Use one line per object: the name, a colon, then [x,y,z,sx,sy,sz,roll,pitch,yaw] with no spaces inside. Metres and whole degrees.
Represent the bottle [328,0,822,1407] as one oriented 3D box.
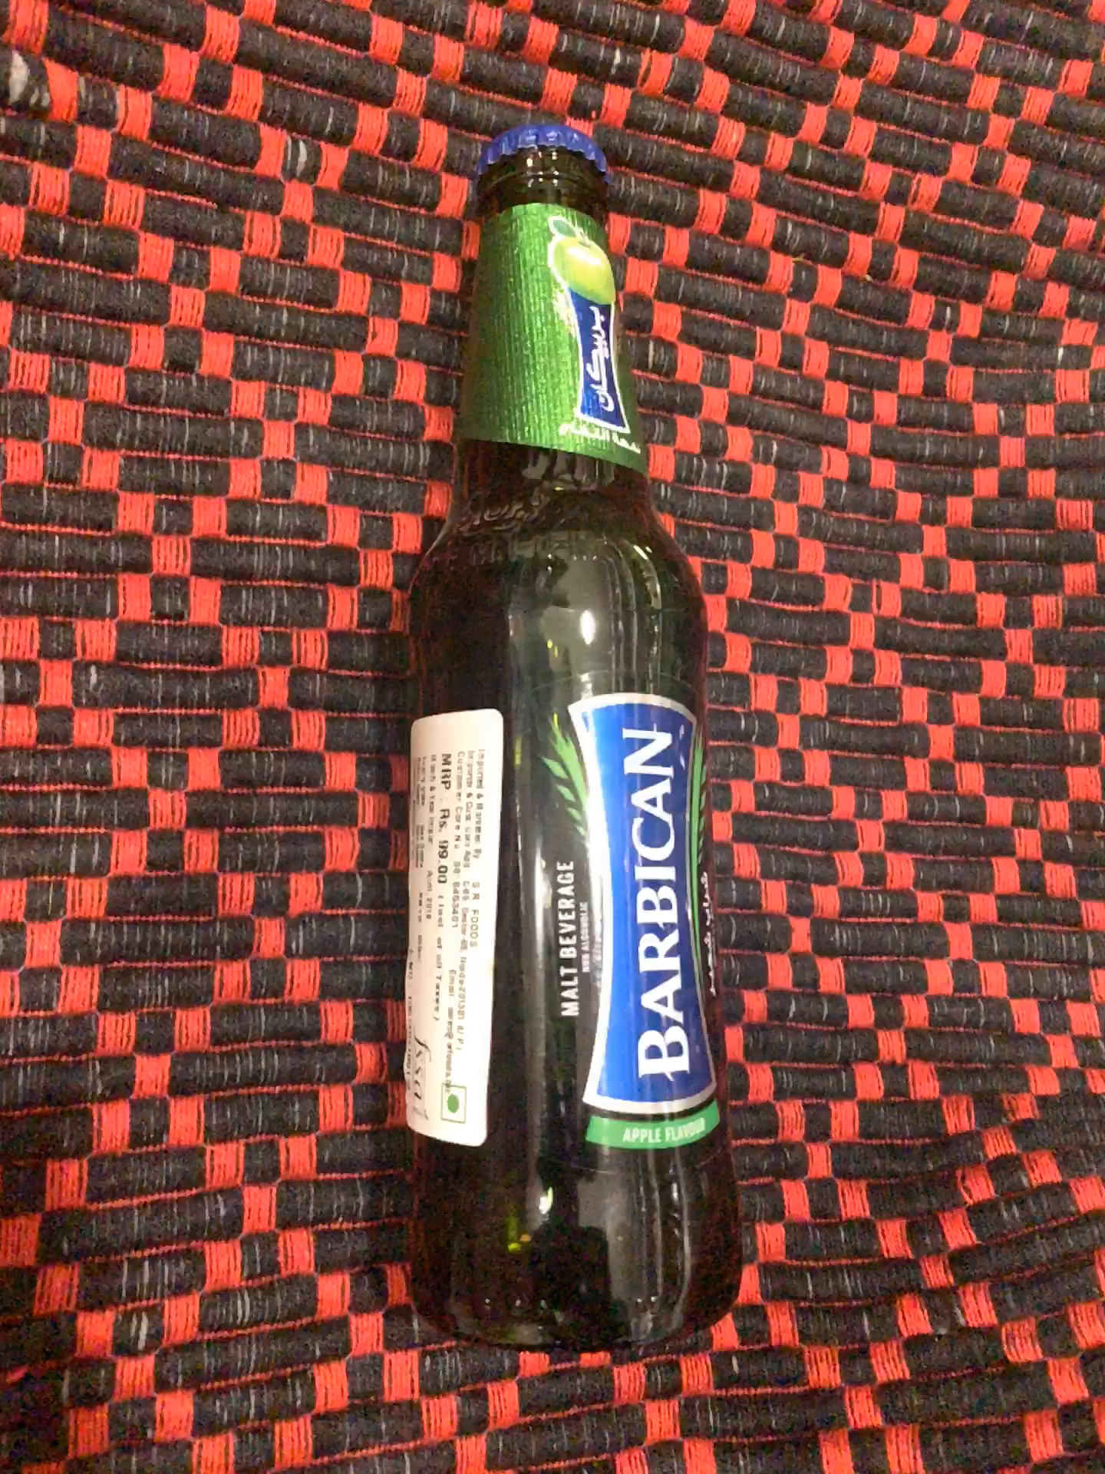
bottle: [-0.003,-0.015,0.222,0.070,0.050,0.238,2,78,-22]
